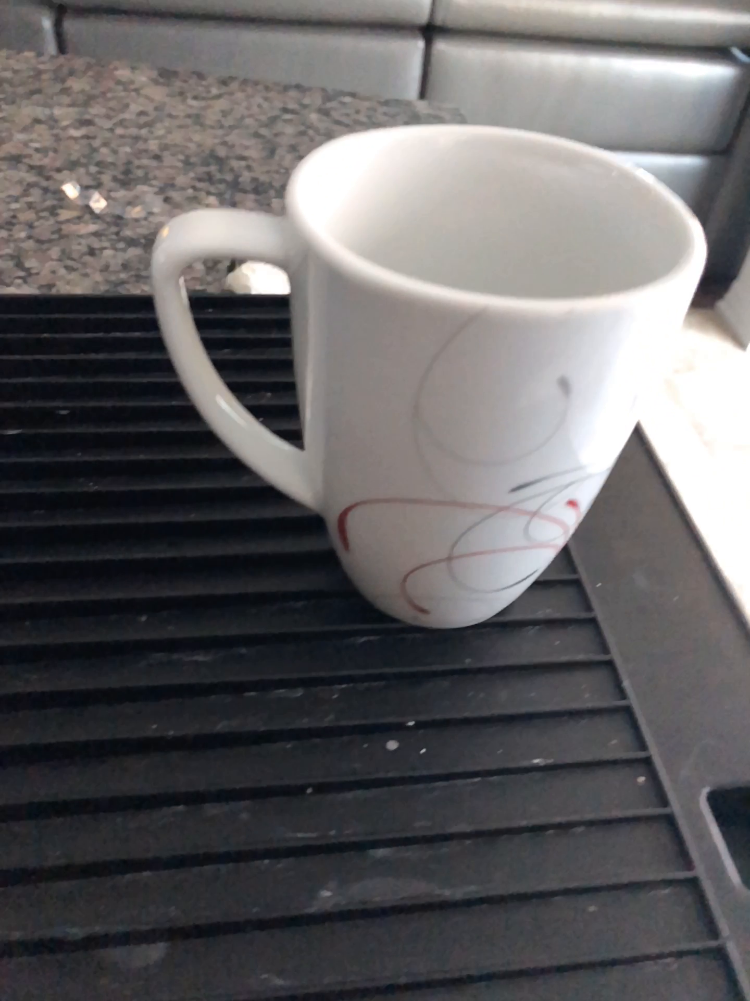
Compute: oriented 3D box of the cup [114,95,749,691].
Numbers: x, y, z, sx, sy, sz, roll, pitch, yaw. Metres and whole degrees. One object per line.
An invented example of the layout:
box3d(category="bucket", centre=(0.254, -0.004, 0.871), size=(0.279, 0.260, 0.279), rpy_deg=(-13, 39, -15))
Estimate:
box3d(category="cup", centre=(0.007, -0.025, 0.203), size=(0.116, 0.105, 0.088), rpy_deg=(-2, 43, -9))
